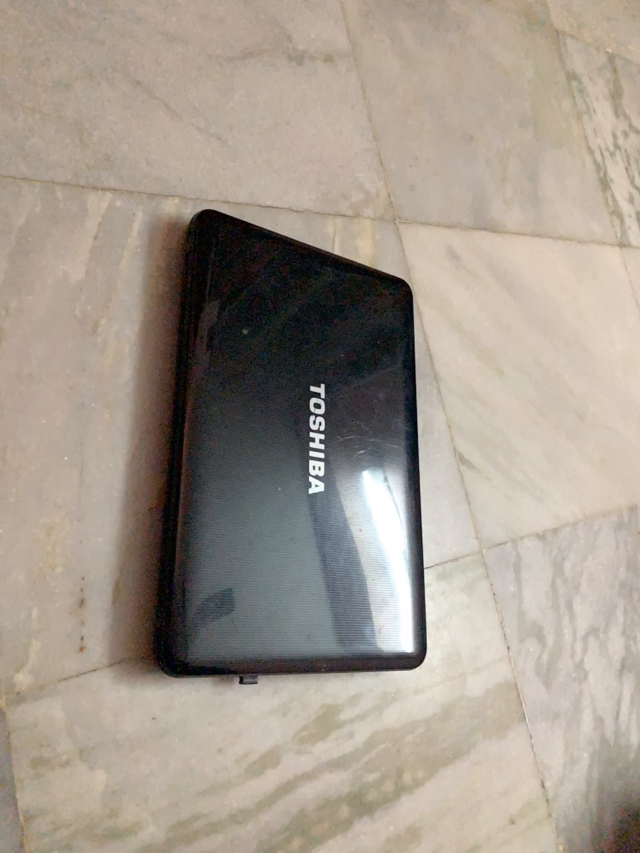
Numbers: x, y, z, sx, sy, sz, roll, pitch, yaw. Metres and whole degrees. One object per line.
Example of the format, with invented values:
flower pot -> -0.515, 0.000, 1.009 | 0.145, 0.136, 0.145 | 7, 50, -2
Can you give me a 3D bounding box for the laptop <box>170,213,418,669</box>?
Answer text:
laptop -> -0.007, 0.012, 0.552 | 0.223, 0.003, 0.355 | 11, 71, -32
